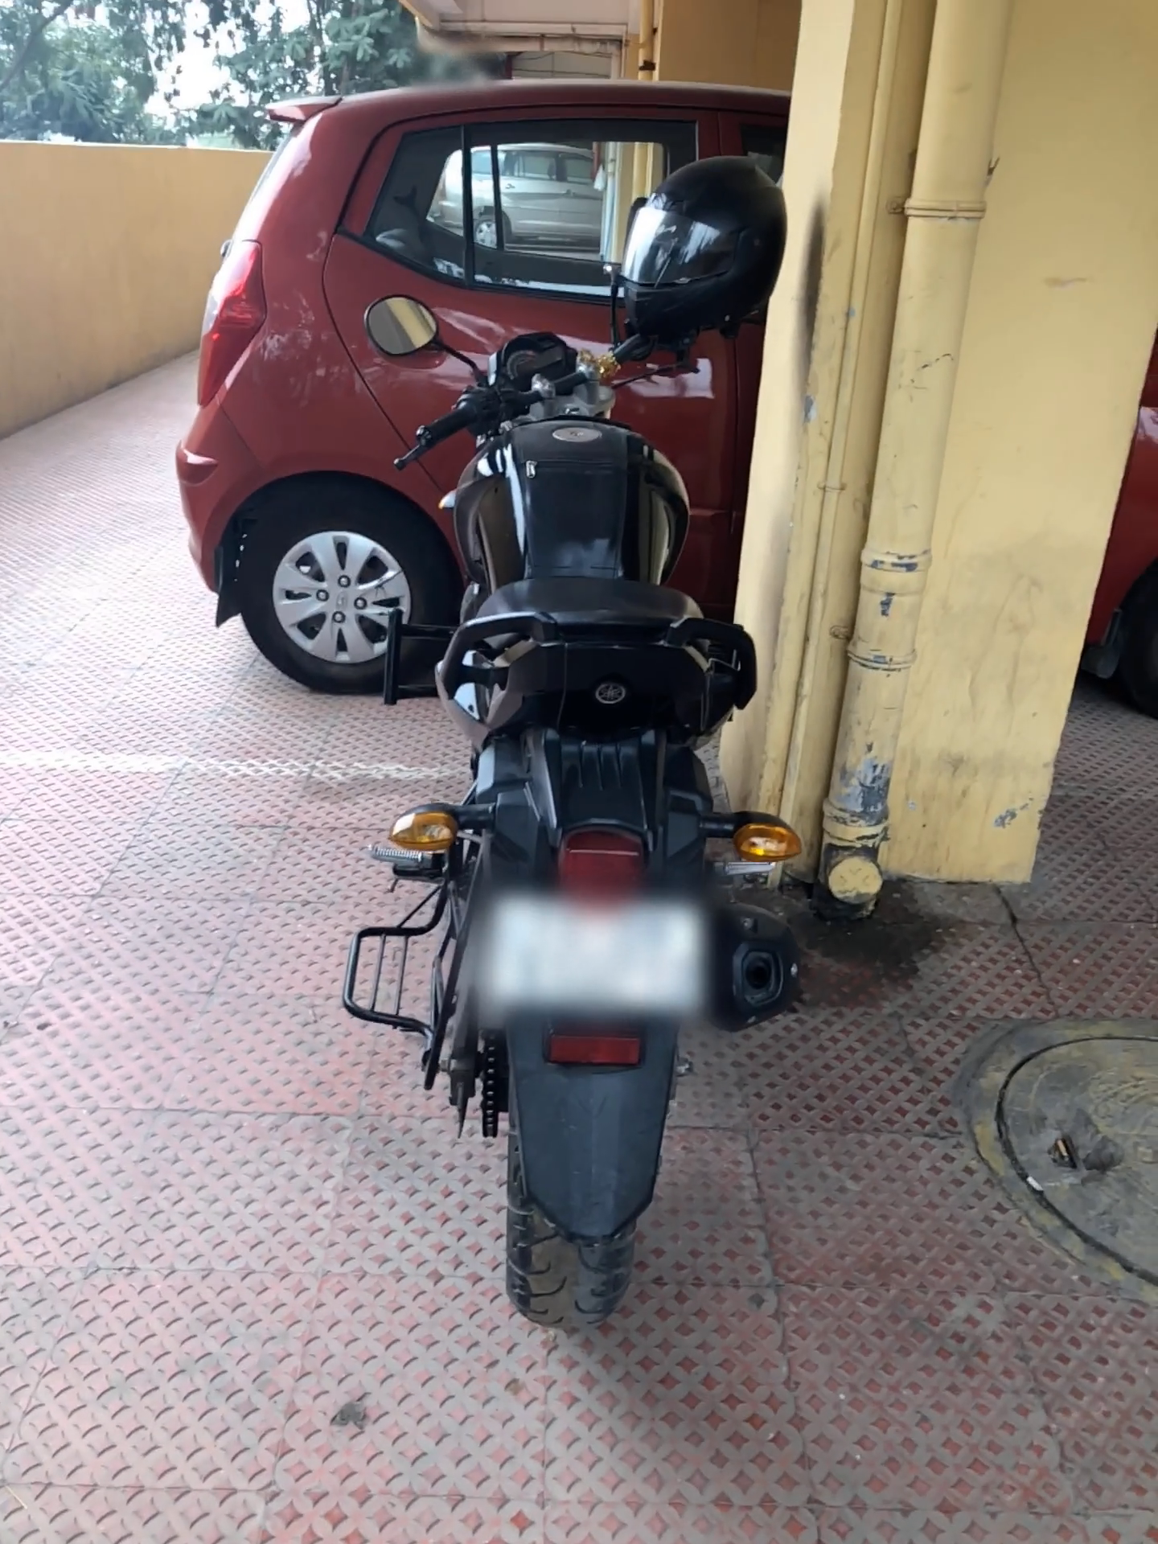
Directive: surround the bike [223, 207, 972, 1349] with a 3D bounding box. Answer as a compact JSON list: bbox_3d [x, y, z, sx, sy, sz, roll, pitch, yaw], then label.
[{"bbox_3d":[-0.147,-0.237,2.035,0.610,1.052,1.808,-1,28,-9],"label":"bike"}]
